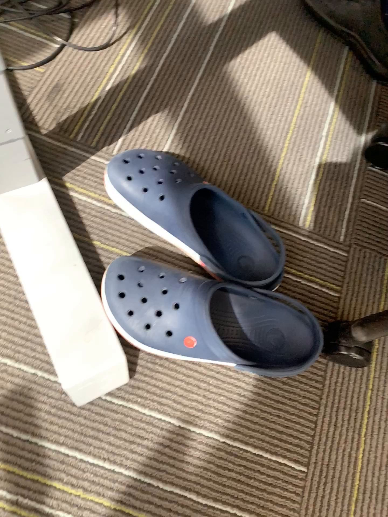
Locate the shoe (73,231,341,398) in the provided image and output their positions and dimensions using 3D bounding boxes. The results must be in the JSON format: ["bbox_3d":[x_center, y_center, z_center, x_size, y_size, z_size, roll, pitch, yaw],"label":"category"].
[{"bbox_3d":[0.022,0.082,0.548,0.330,0.080,0.130,16,68,-4],"label":"shoe"}]

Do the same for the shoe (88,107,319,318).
[{"bbox_3d":[0.010,-0.071,0.600,0.320,0.080,0.130,39,68,6],"label":"shoe"}]
